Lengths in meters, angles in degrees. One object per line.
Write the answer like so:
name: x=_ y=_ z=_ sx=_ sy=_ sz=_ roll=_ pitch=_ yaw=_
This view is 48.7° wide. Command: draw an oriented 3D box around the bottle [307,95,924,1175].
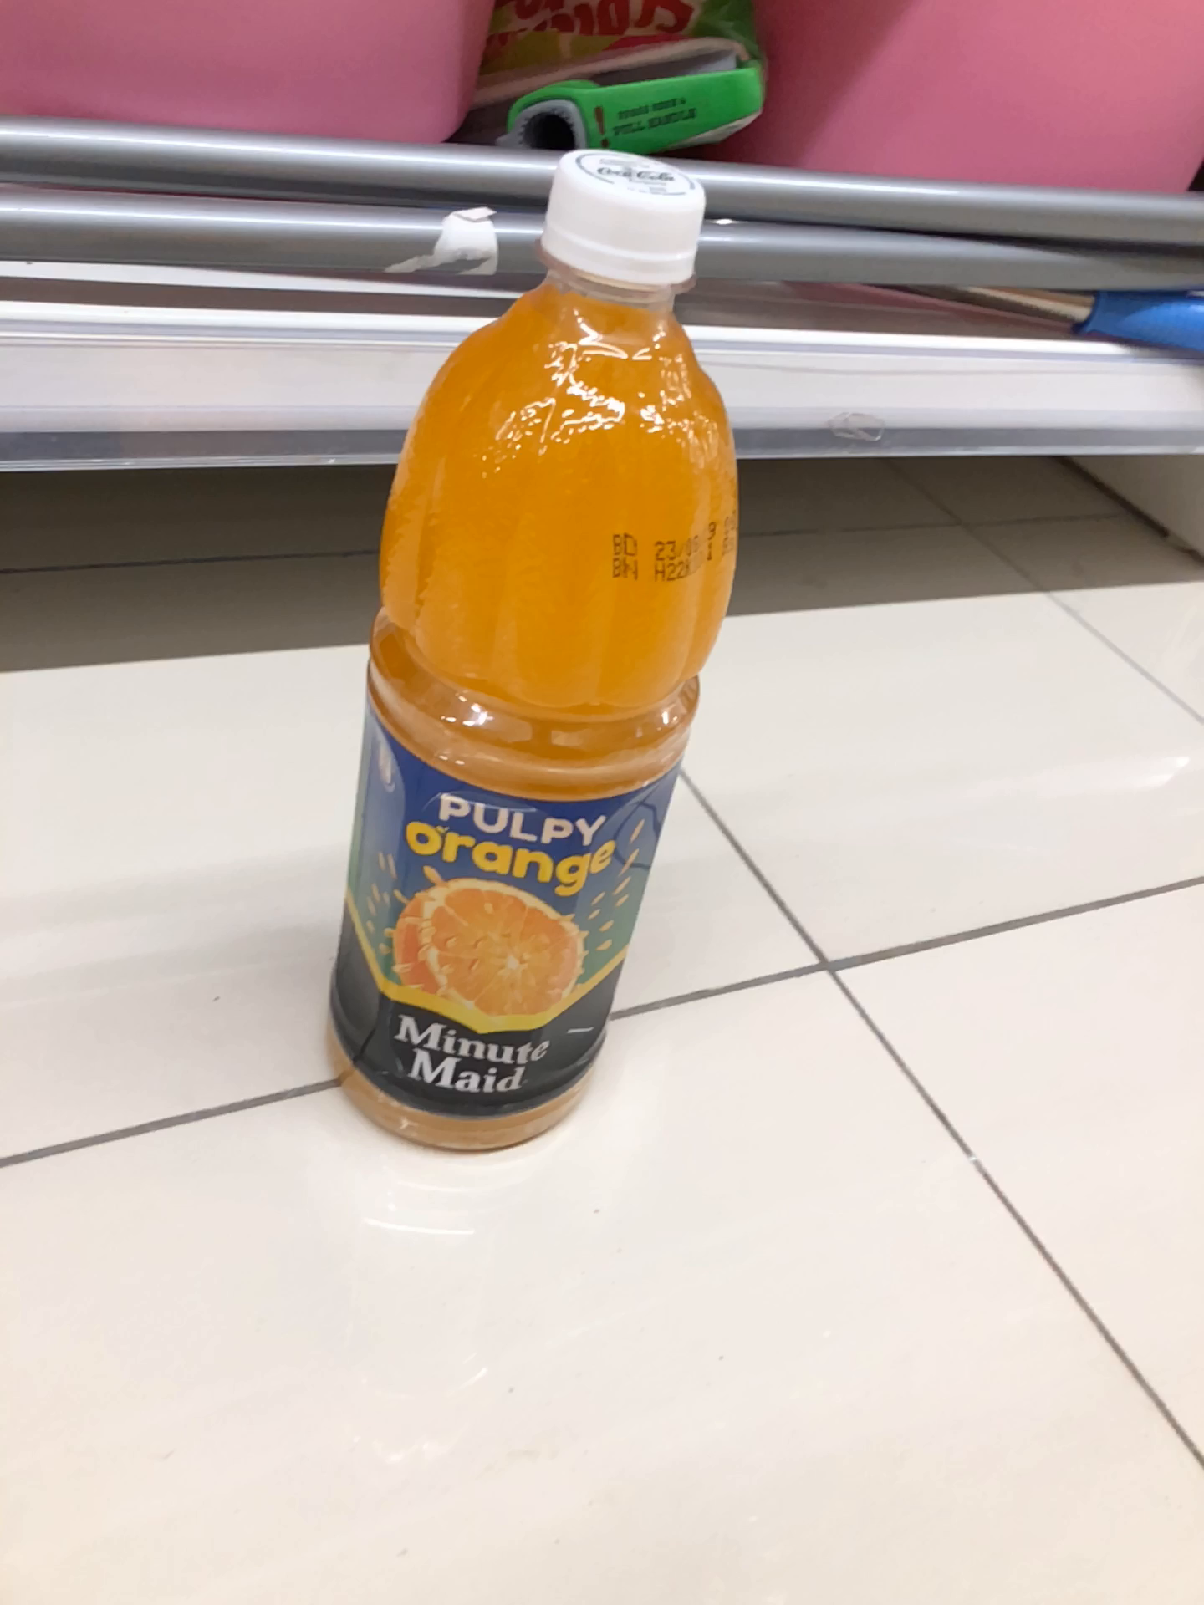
bottle: x=-0.016 y=-0.022 z=0.329 sx=0.090 sy=0.245 sz=0.091 roll=9 pitch=37 yaw=-7
